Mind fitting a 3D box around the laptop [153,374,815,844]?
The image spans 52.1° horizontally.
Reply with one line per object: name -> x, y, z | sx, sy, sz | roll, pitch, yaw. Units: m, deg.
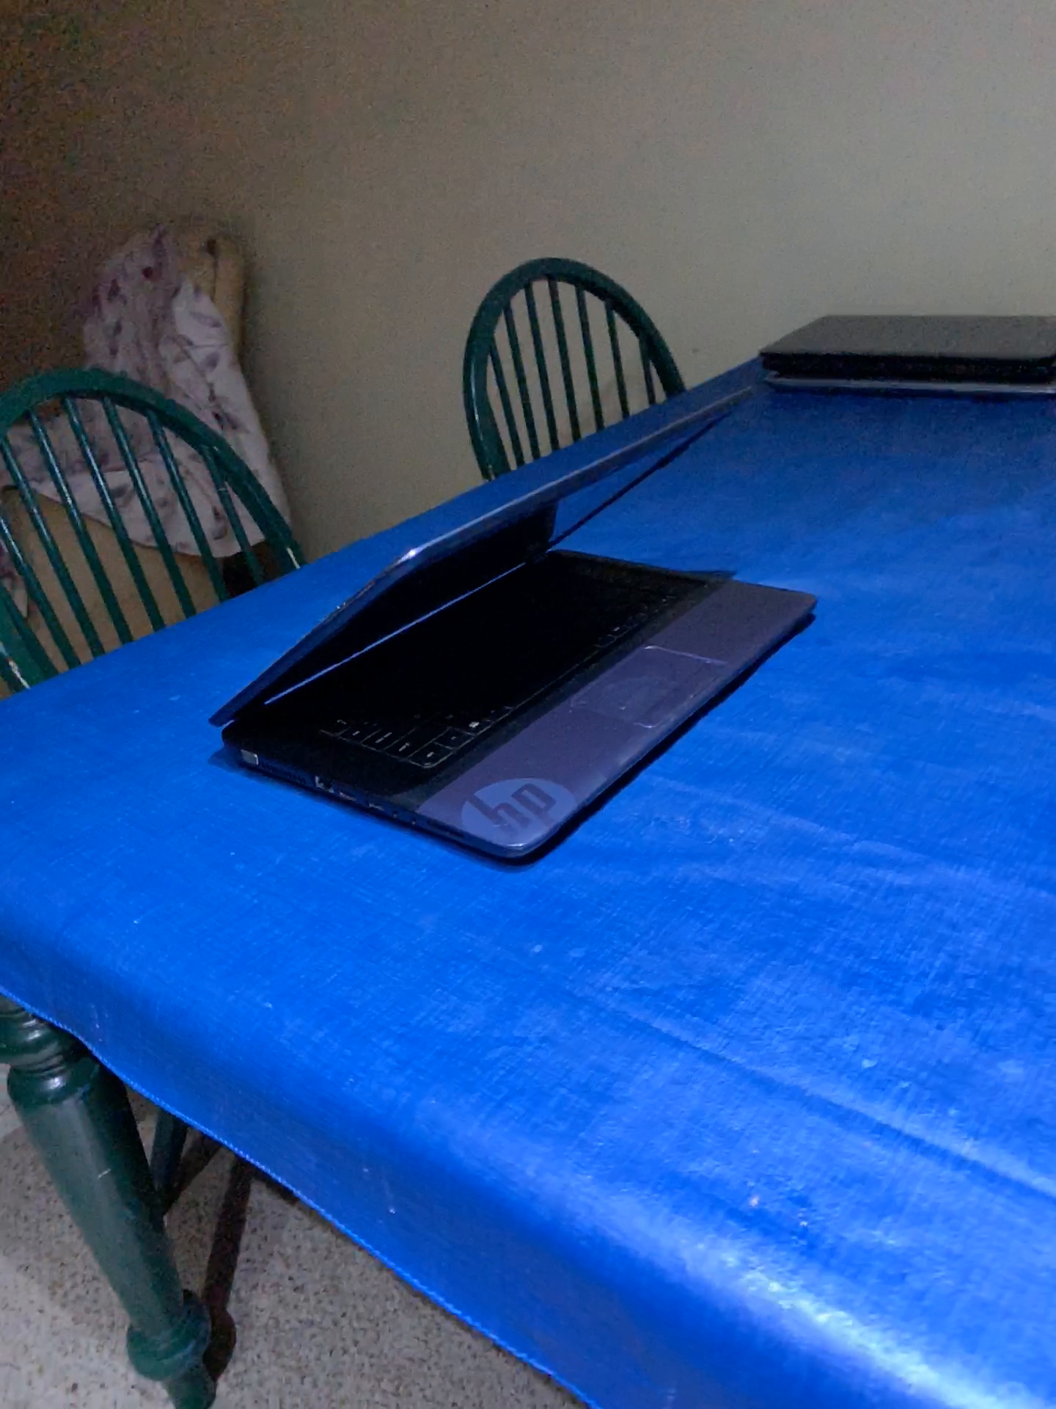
laptop -> -0.003, -0.097, 0.706 | 0.239, 0.141, 0.364 | 15, 34, 34
